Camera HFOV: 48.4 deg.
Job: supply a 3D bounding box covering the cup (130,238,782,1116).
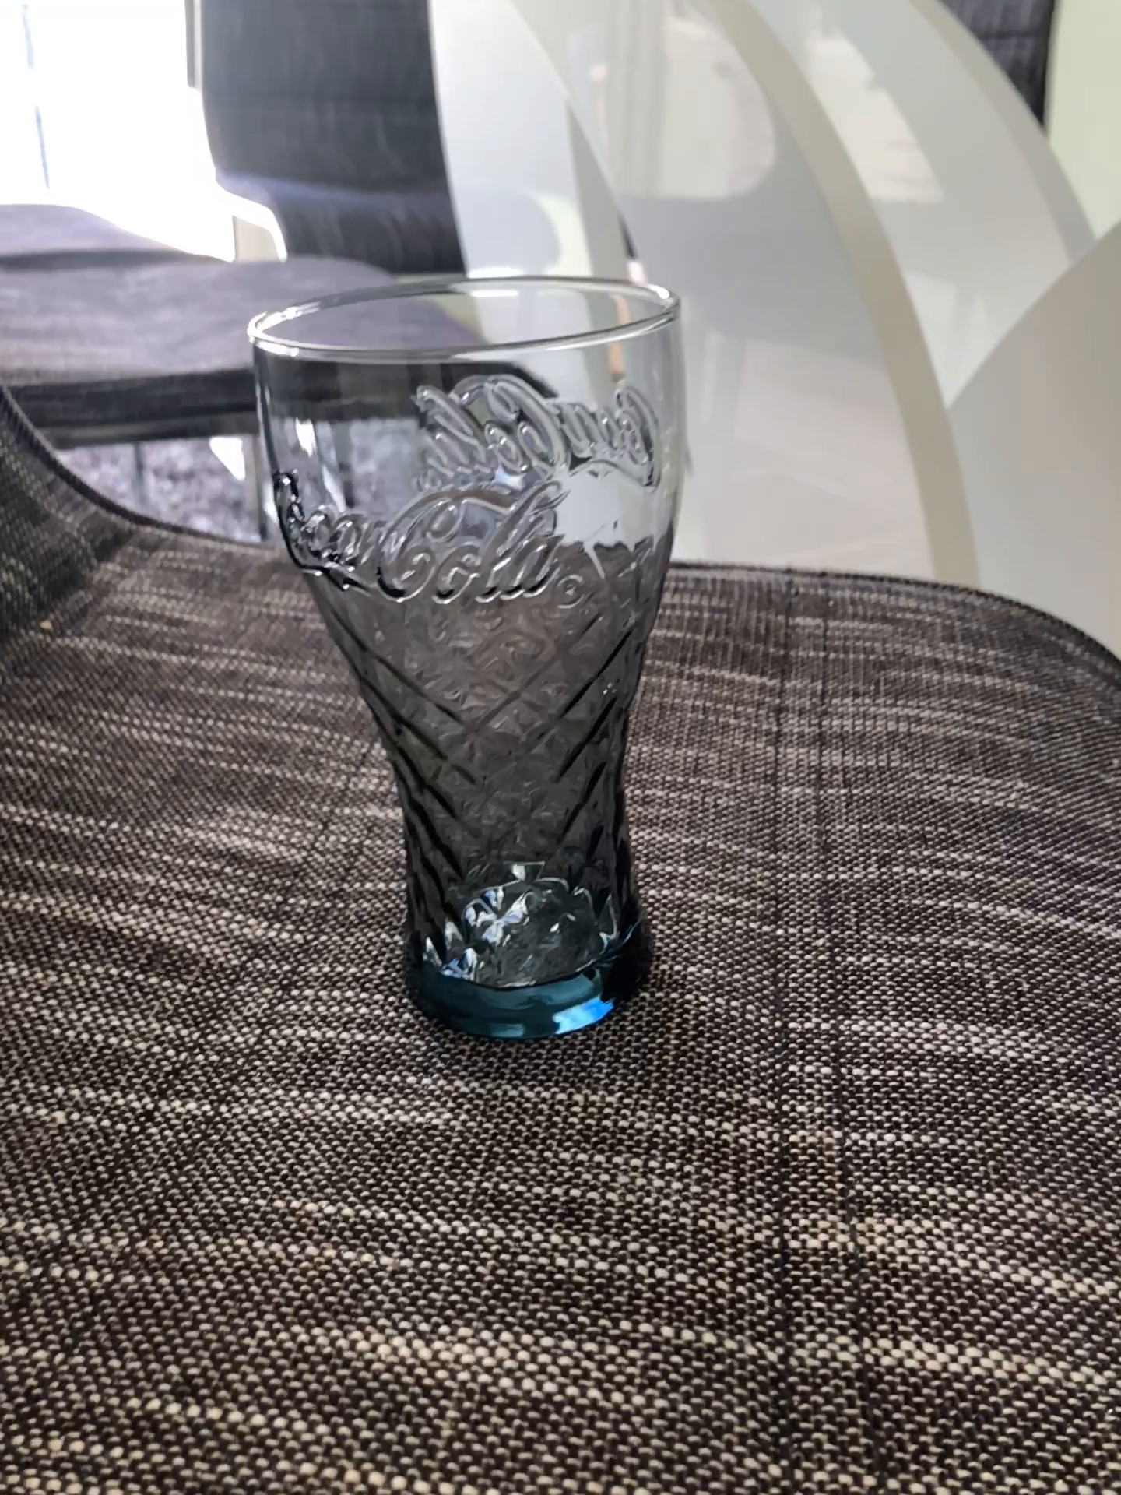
[{"bbox_3d":[-0.012,-0.021,0.246,0.080,0.139,0.081,-4,26,2],"label":"cup"}]
